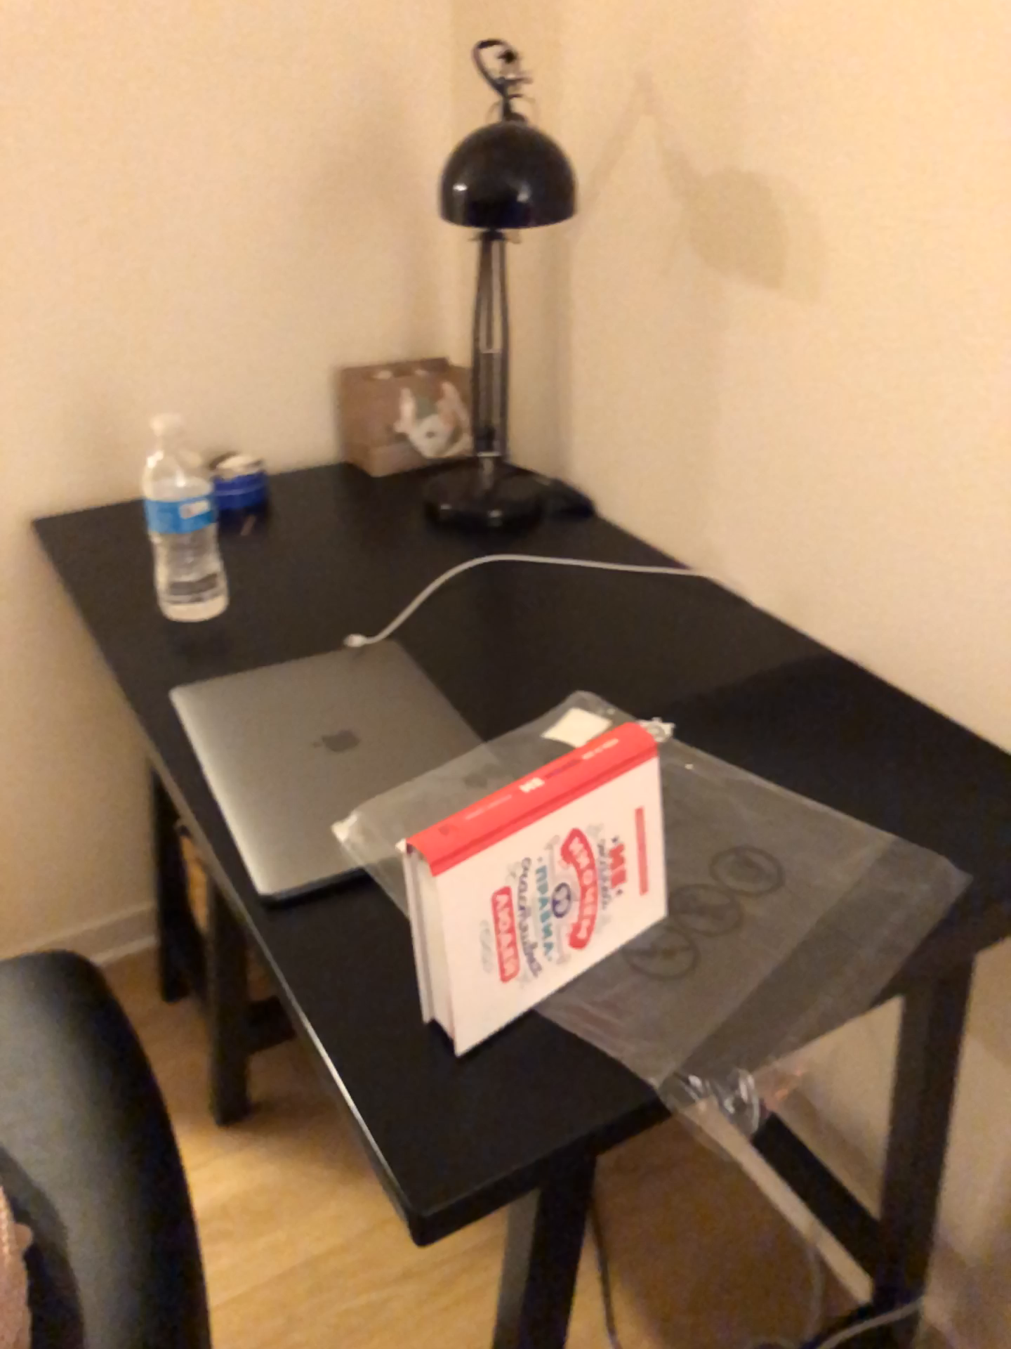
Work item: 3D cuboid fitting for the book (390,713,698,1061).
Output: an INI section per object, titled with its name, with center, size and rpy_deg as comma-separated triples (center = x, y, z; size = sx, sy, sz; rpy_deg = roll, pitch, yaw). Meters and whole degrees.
[book]
center = 0.028, 0.124, 0.692
size = 0.201, 0.129, 0.050
rpy_deg = -25, 39, -34
